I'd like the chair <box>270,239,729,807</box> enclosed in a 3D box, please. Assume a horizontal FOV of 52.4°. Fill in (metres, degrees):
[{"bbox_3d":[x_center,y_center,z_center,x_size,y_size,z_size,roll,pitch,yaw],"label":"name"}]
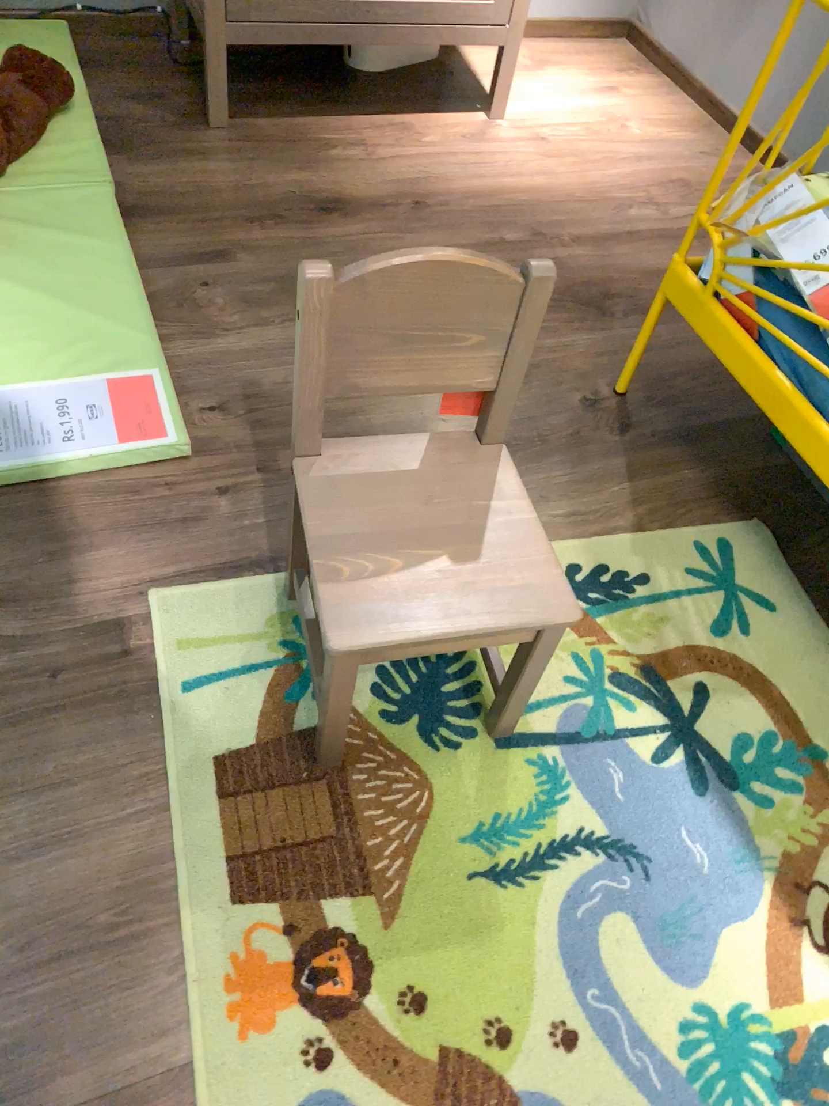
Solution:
[{"bbox_3d":[0.022,-0.012,0.878,0.290,0.488,0.331,-6,54,-15],"label":"chair"}]
